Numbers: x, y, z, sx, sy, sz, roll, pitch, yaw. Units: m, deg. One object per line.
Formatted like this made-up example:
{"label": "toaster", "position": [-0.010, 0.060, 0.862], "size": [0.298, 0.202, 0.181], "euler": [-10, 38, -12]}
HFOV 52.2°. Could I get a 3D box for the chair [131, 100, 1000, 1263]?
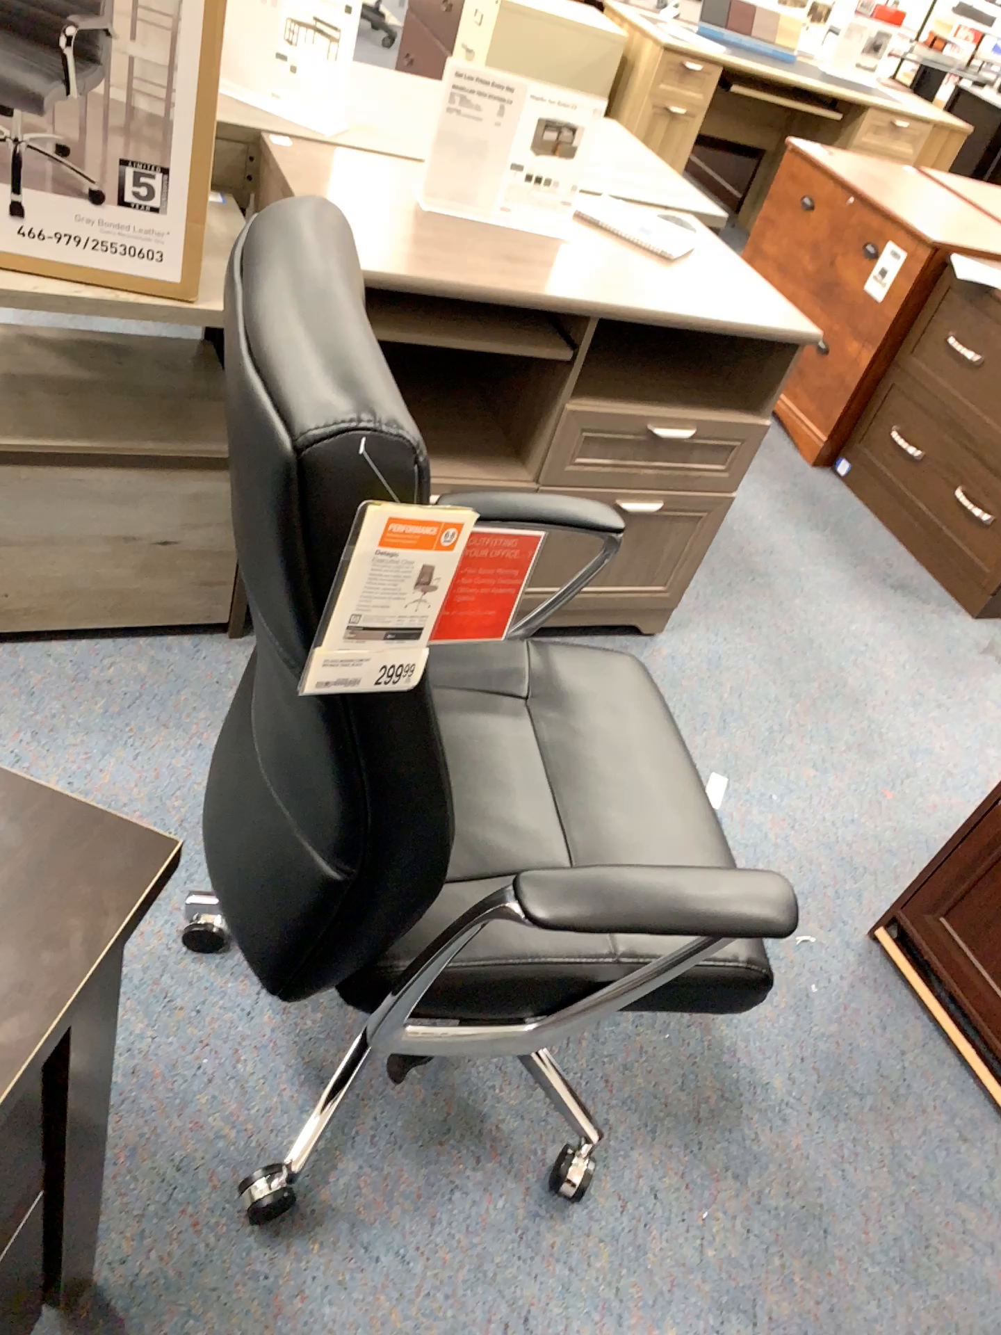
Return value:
{"label": "chair", "position": [0.017, 0.088, 1.151], "size": [0.718, 0.996, 0.667], "euler": [5, 42, -19]}
